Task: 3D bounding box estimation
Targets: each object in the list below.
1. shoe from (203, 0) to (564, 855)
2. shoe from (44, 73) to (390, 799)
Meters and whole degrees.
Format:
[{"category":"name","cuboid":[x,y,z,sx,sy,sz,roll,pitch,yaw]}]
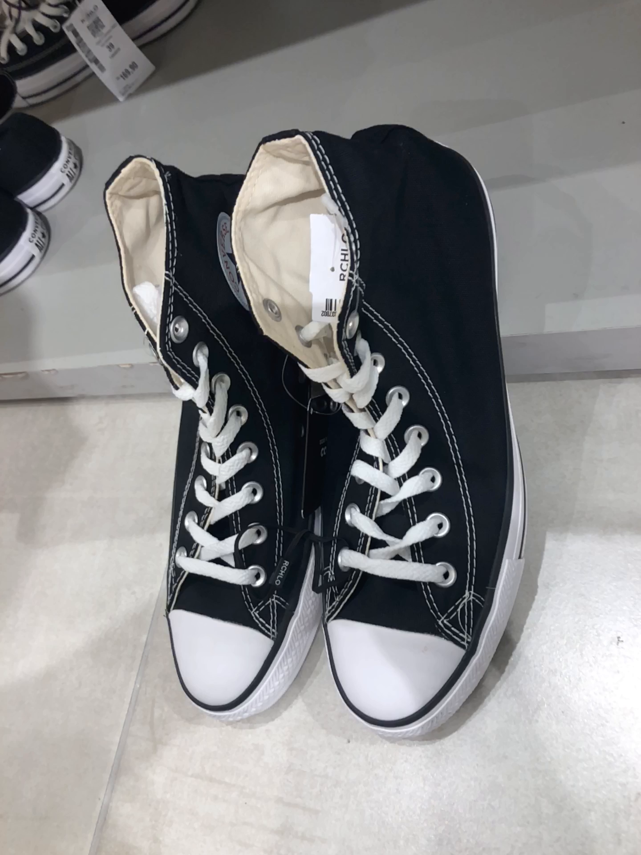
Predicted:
[{"category":"shoe","cuboid":[0.037,-0.011,0.329,0.120,0.140,0.330,0,89,29]},{"category":"shoe","cuboid":[-0.050,0.002,0.393,0.120,0.140,0.310,2,91,30]}]
